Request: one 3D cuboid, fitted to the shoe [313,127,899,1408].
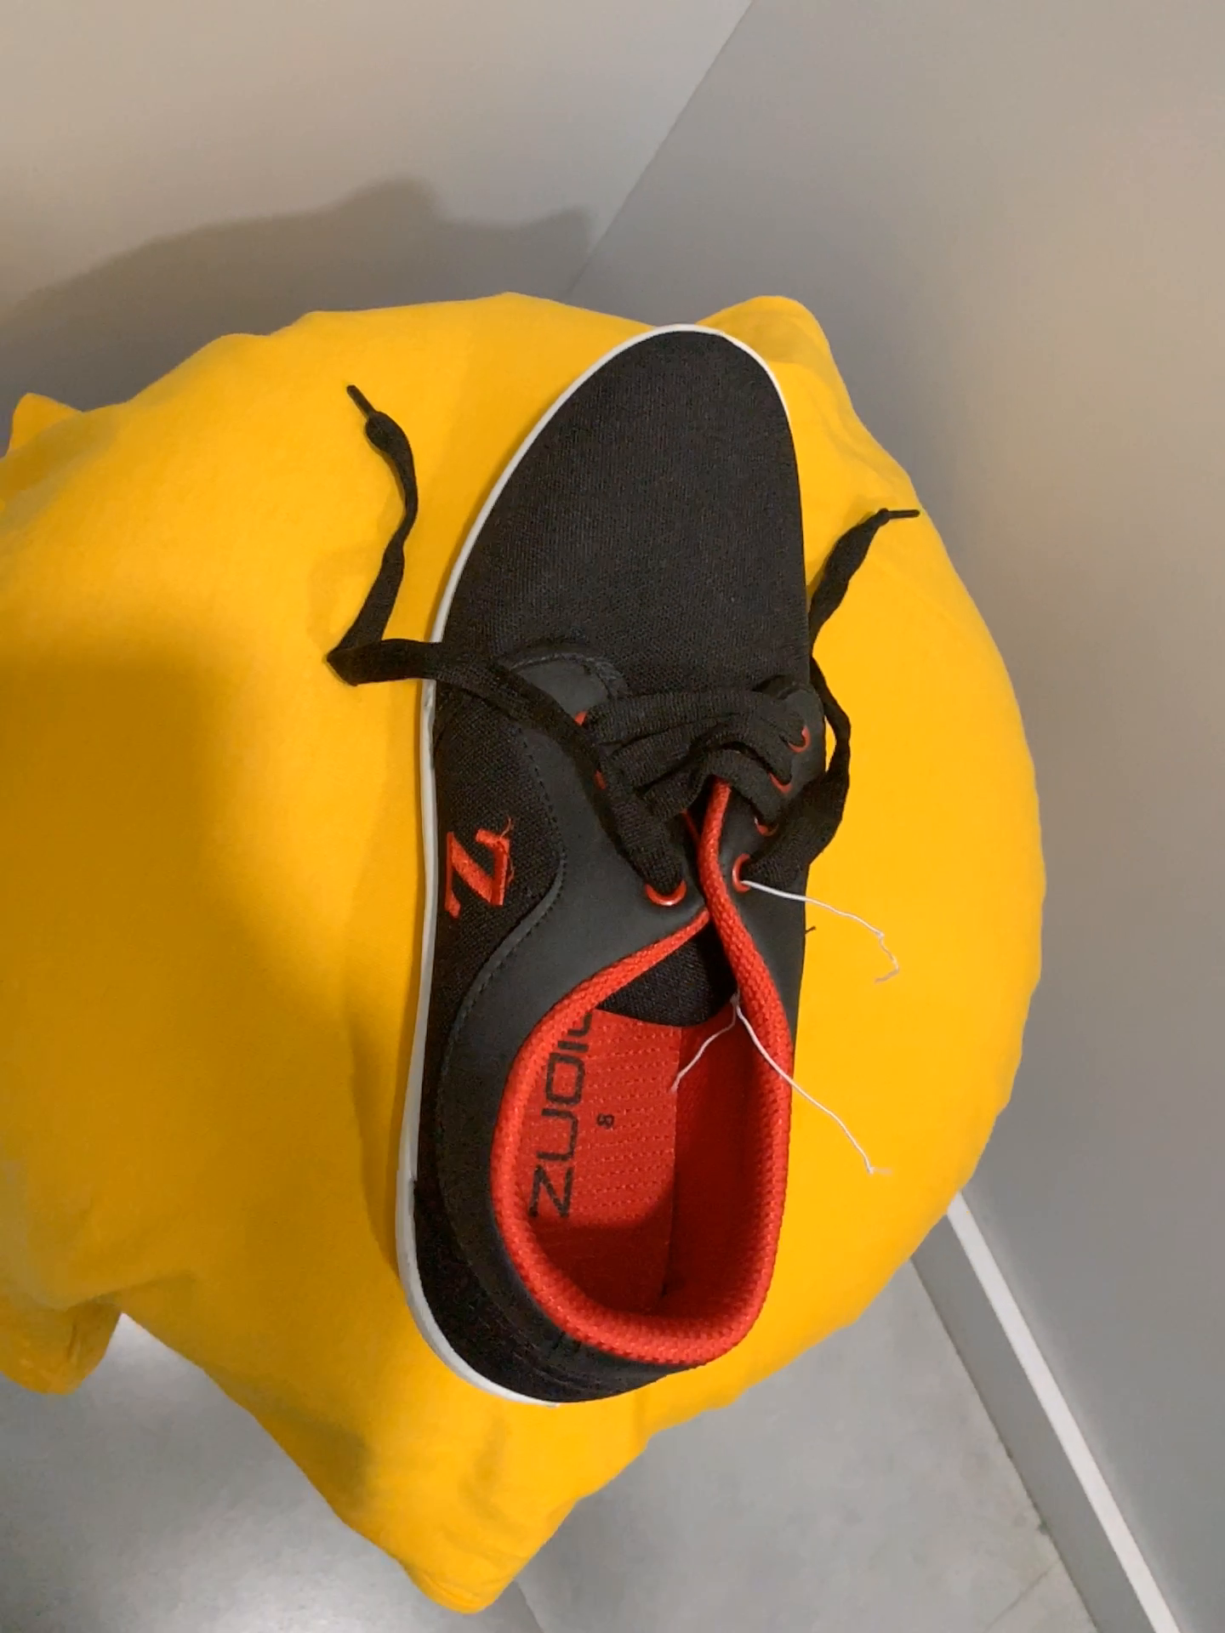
[{"bbox_3d":[-0.002,-0.009,0.318,0.090,0.100,0.270,10,78,-20],"label":"shoe"}]
